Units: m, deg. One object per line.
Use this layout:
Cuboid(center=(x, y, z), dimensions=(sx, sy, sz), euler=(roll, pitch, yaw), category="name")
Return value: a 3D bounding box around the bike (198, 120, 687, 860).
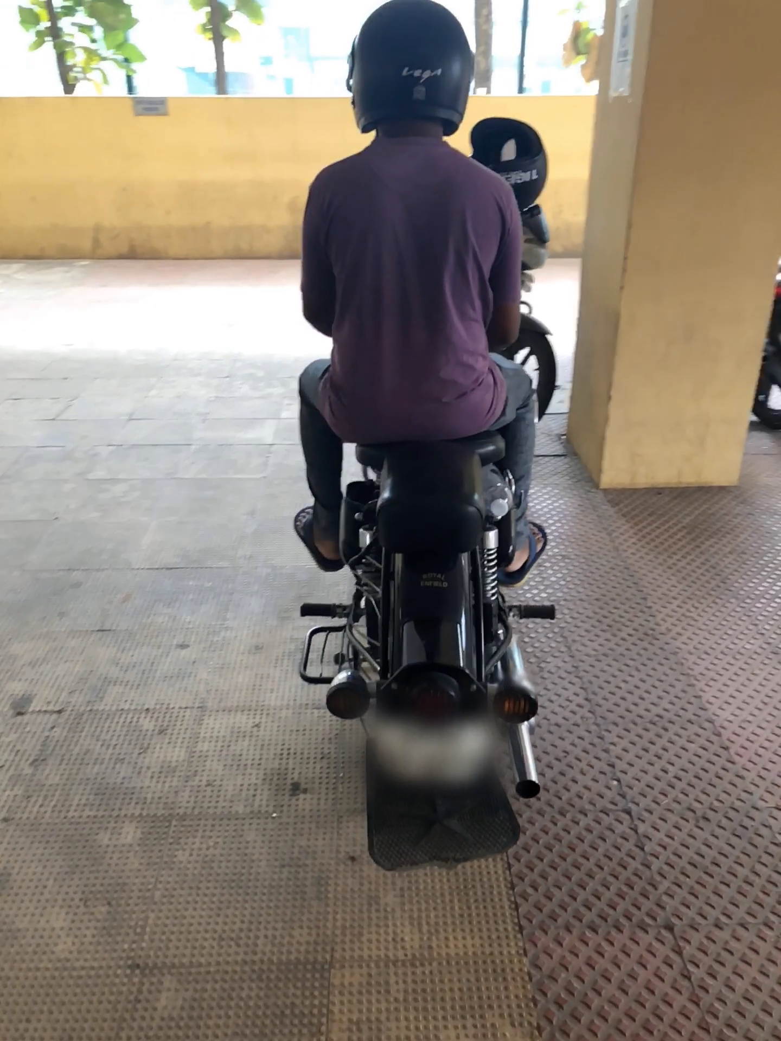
Cuboid(center=(-0.040, -0.291, 2.245), dimensions=(0.726, 1.096, 1.773), euler=(-3, 32, -6), category="bike")
